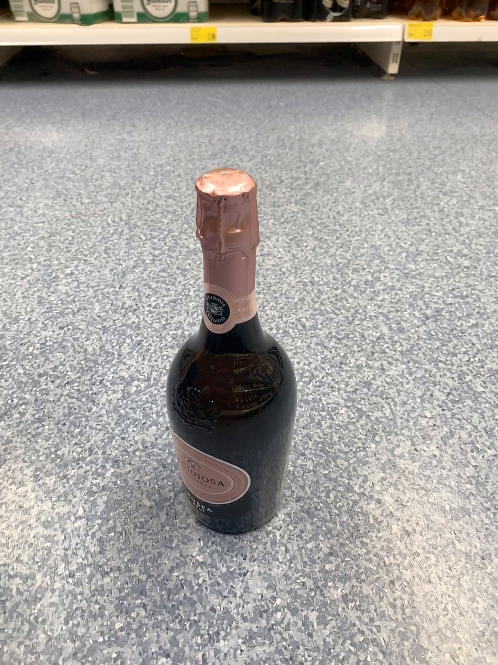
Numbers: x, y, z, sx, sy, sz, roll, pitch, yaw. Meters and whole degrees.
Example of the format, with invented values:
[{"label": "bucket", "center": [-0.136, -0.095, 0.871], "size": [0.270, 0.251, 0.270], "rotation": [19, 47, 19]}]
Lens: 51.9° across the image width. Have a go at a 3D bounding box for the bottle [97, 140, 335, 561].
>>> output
[{"label": "bottle", "center": [-0.017, 0.027, 0.346], "size": [0.094, 0.268, 0.079], "rotation": [26, 45, 29]}]
